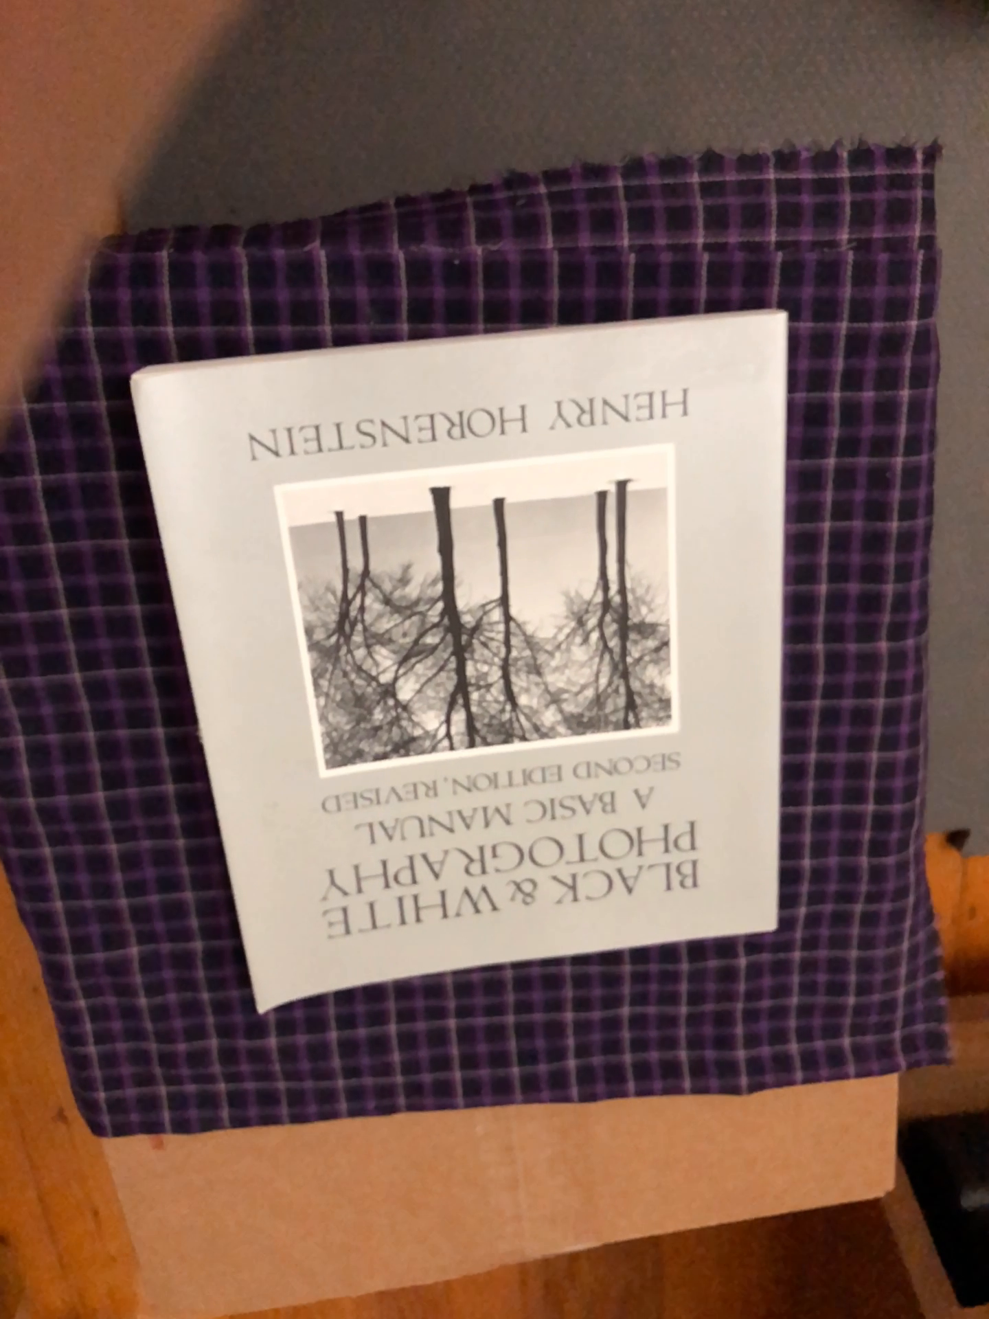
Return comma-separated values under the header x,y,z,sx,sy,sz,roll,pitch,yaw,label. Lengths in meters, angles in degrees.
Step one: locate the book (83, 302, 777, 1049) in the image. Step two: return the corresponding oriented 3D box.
x,y,z,sx,sy,sz,roll,pitch,yaw,label
-0.009,0.014,0.392,0.210,0.030,0.250,-6,112,-4,book
